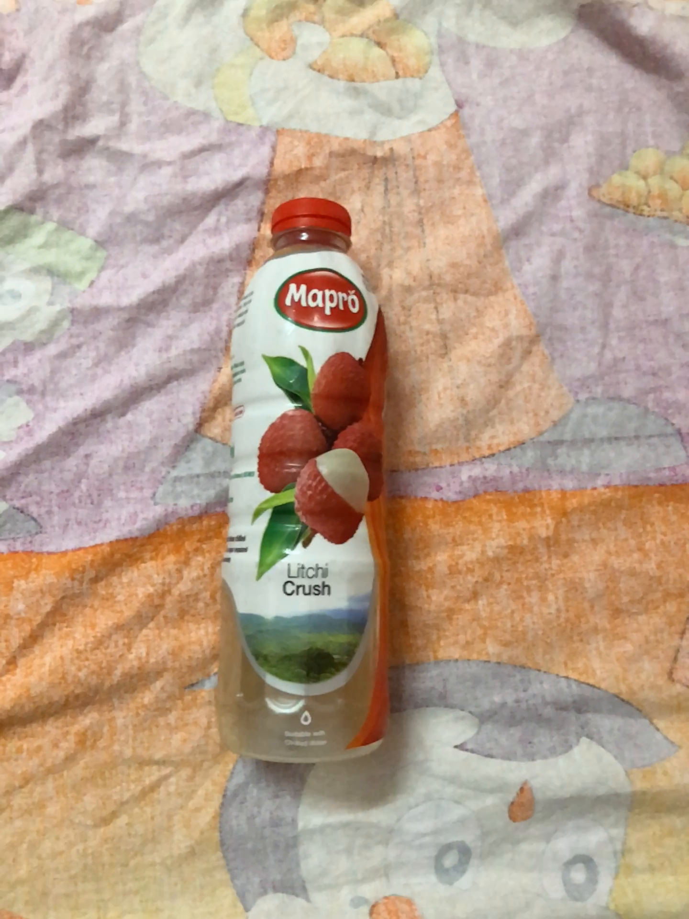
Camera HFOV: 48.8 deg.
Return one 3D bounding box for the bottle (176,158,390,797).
[{"bbox_3d":[-0.025,0.005,0.345,0.080,0.070,0.260,2,82,-4],"label":"bottle"}]
